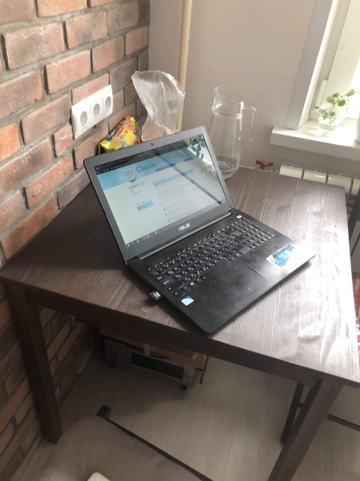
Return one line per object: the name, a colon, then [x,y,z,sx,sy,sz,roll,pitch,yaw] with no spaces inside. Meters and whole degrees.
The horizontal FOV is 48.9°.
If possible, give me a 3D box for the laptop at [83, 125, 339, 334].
laptop: [0.058,-0.068,0.890,0.373,0.186,0.401,-27,47,-36]
